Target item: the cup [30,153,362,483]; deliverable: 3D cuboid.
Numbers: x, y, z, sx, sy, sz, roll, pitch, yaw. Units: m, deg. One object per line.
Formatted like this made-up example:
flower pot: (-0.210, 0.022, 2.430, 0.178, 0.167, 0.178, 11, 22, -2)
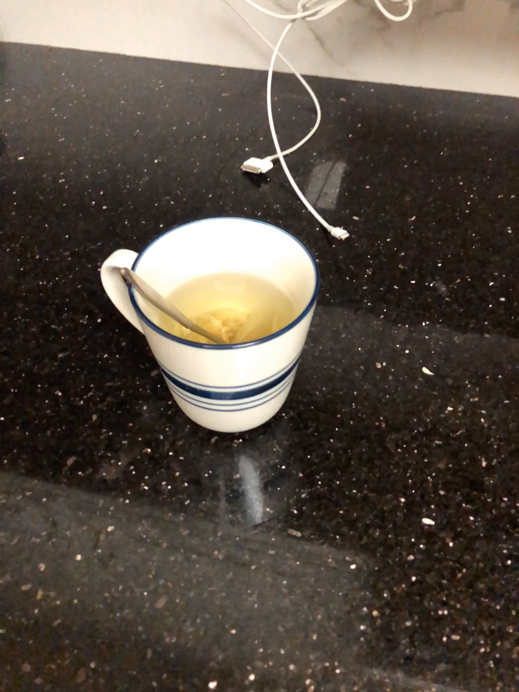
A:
cup: (-0.028, -0.016, 0.298, 0.120, 0.100, 0.090, 27, 56, 20)
